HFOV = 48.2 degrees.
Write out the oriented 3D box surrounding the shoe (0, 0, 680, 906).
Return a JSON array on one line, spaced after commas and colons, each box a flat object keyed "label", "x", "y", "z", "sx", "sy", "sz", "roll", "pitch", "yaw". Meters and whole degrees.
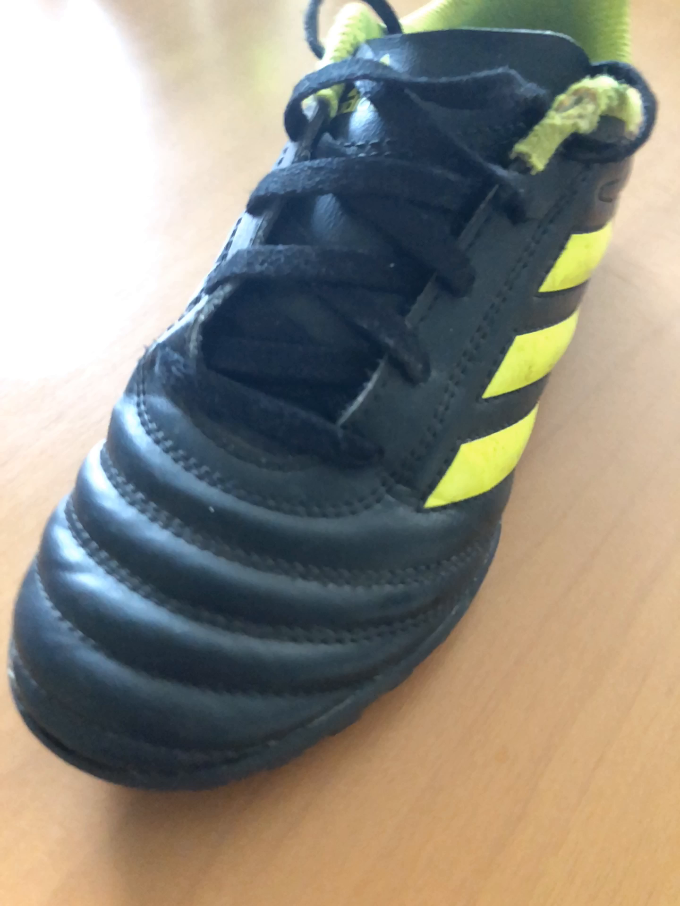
[{"label": "shoe", "x": 0.008, "y": -0.030, "z": 0.170, "sx": 0.090, "sy": 0.090, "sz": 0.221, "roll": 24, "pitch": 57, "yaw": 14}]
